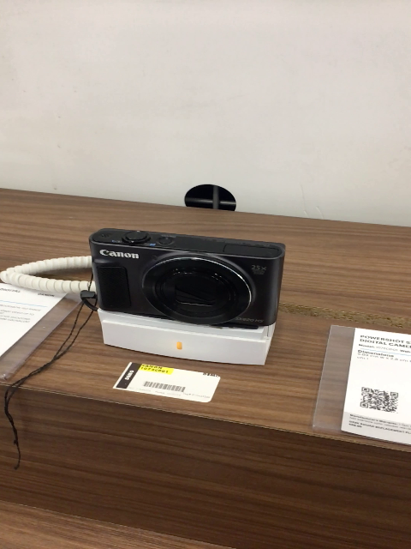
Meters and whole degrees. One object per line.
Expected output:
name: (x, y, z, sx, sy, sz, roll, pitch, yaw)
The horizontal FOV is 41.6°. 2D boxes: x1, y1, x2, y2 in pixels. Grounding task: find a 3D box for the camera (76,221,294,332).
camera: (-0.011, 0.000, 0.303, 0.111, 0.045, 0.029, 6, 36, 10)
